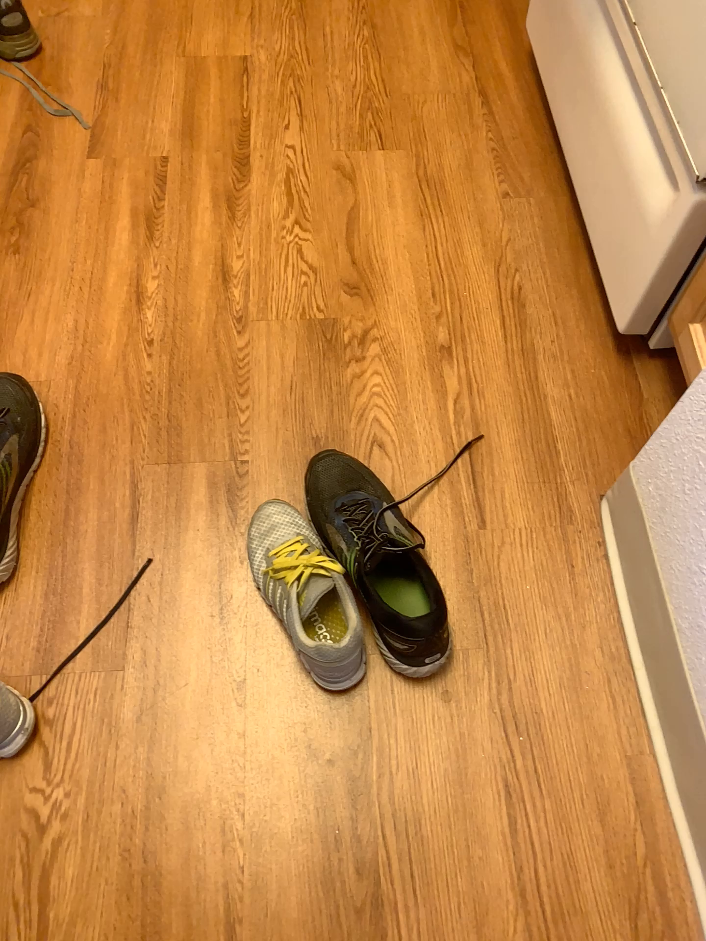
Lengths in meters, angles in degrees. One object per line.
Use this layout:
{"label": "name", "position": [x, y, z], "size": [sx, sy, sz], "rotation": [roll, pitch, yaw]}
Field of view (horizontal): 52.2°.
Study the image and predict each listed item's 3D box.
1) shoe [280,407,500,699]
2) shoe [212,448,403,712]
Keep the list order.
{"label": "shoe", "position": [0.031, 0.089, 0.813], "size": [0.110, 0.110, 0.291], "rotation": [-24, 65, -13]}
{"label": "shoe", "position": [-0.054, 0.119, 0.800], "size": [0.100, 0.110, 0.251], "rotation": [-24, 65, -13]}
